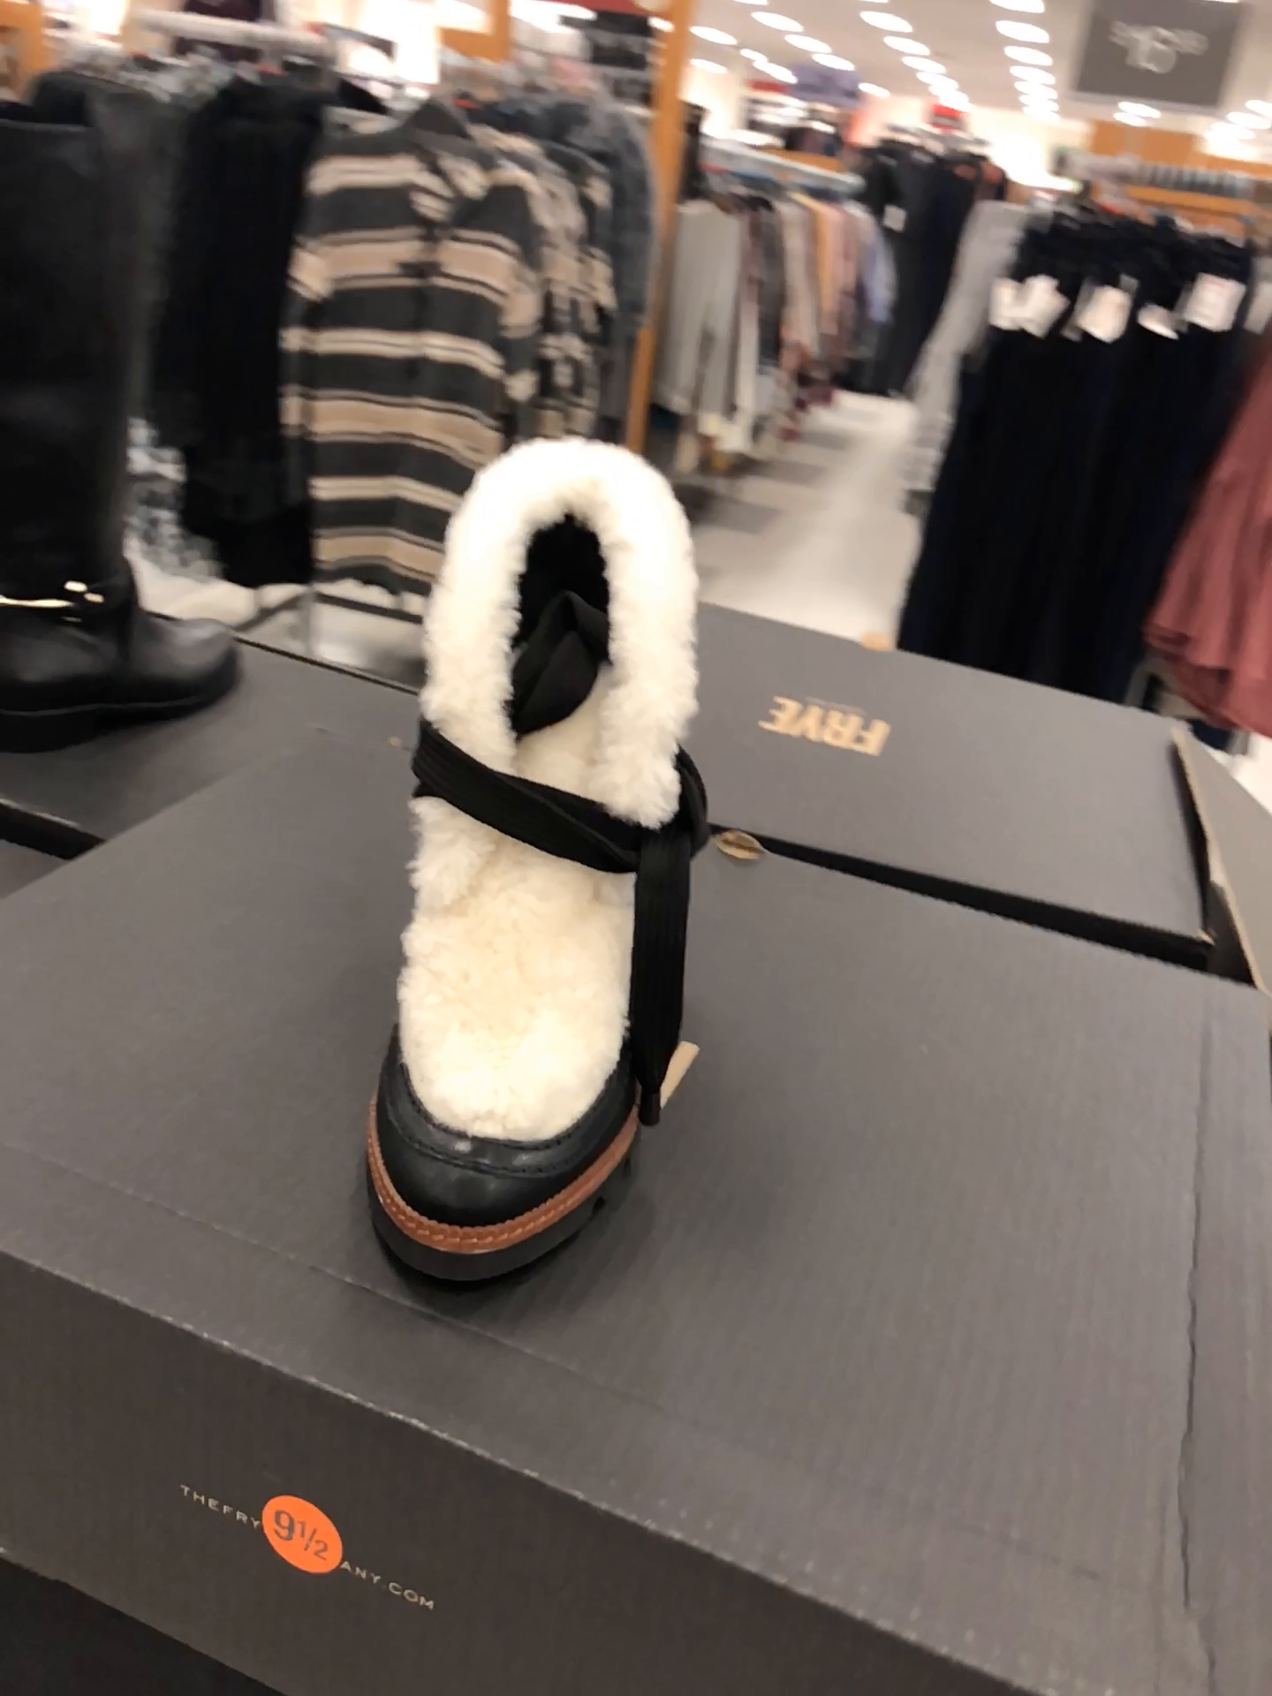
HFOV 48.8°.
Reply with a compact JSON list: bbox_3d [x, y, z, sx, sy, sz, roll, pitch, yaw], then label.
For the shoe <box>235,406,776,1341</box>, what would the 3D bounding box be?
[{"bbox_3d":[-0.031,-0.016,0.464,0.101,0.207,0.248,11,25,5],"label":"shoe"}]
